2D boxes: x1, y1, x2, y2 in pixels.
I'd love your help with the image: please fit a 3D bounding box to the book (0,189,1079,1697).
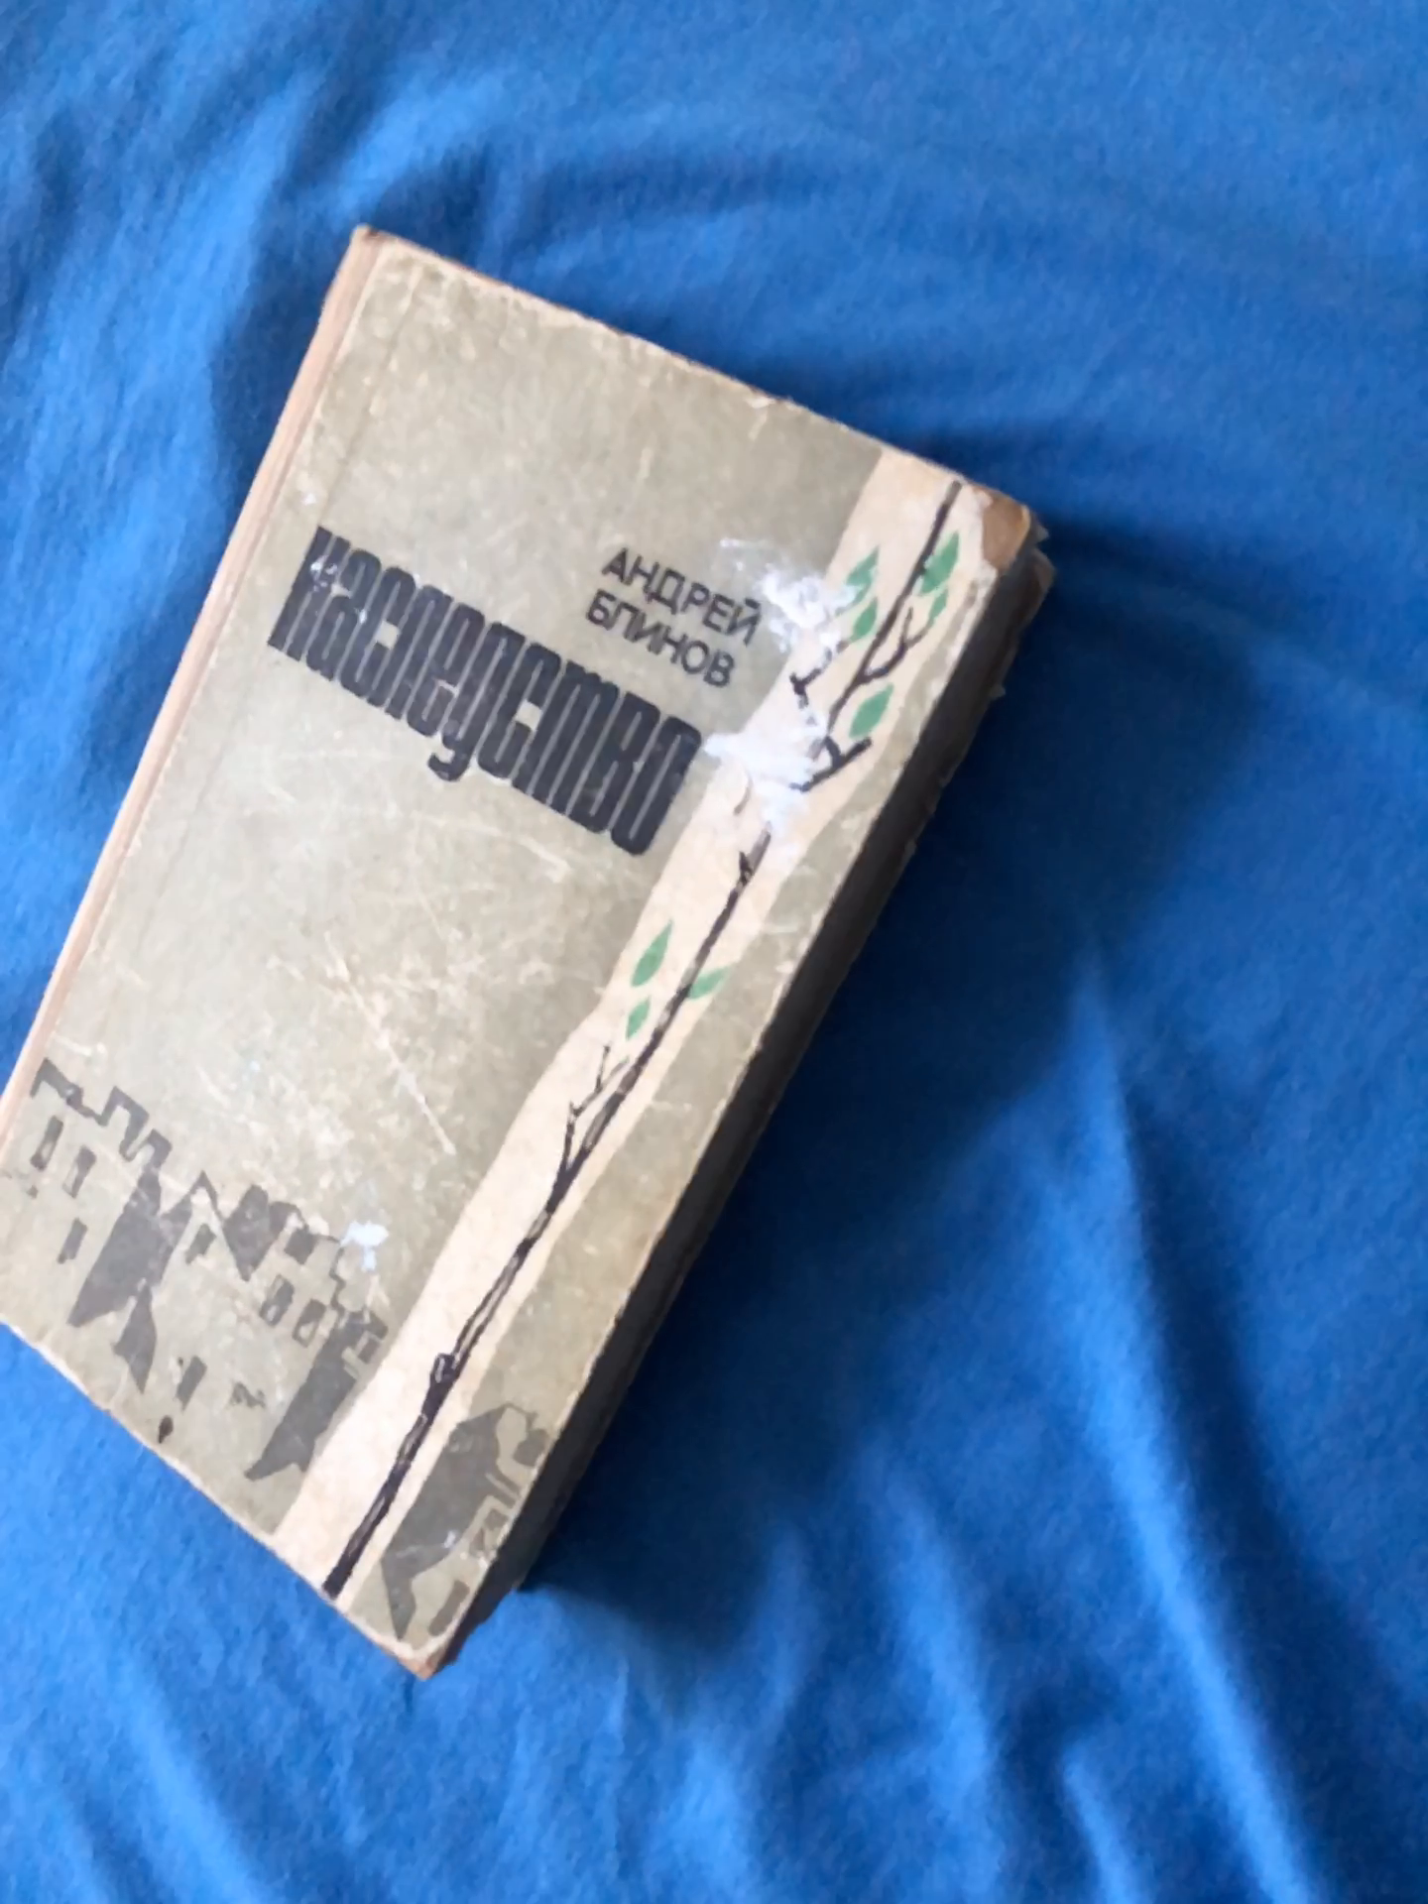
[{"bbox_3d":[-0.048,-0.003,0.269,0.130,0.040,0.200,31,99,18],"label":"book"}]
